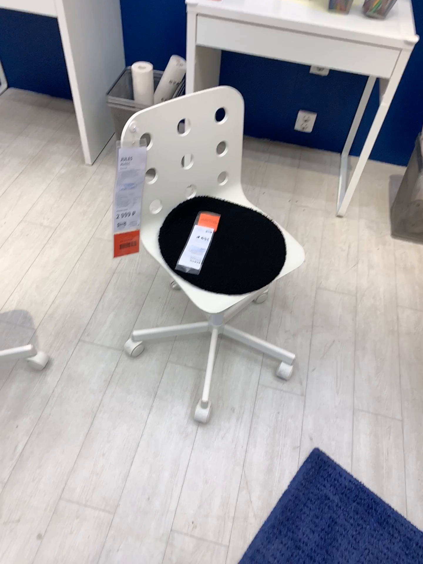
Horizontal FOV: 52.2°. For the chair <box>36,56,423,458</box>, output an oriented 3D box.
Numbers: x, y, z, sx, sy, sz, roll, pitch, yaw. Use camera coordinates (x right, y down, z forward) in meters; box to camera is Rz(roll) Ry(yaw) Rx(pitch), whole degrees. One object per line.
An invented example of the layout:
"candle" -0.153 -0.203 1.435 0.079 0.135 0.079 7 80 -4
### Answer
"chair" 0.024 -0.060 1.195 0.602 0.737 0.591 -31 60 -26
